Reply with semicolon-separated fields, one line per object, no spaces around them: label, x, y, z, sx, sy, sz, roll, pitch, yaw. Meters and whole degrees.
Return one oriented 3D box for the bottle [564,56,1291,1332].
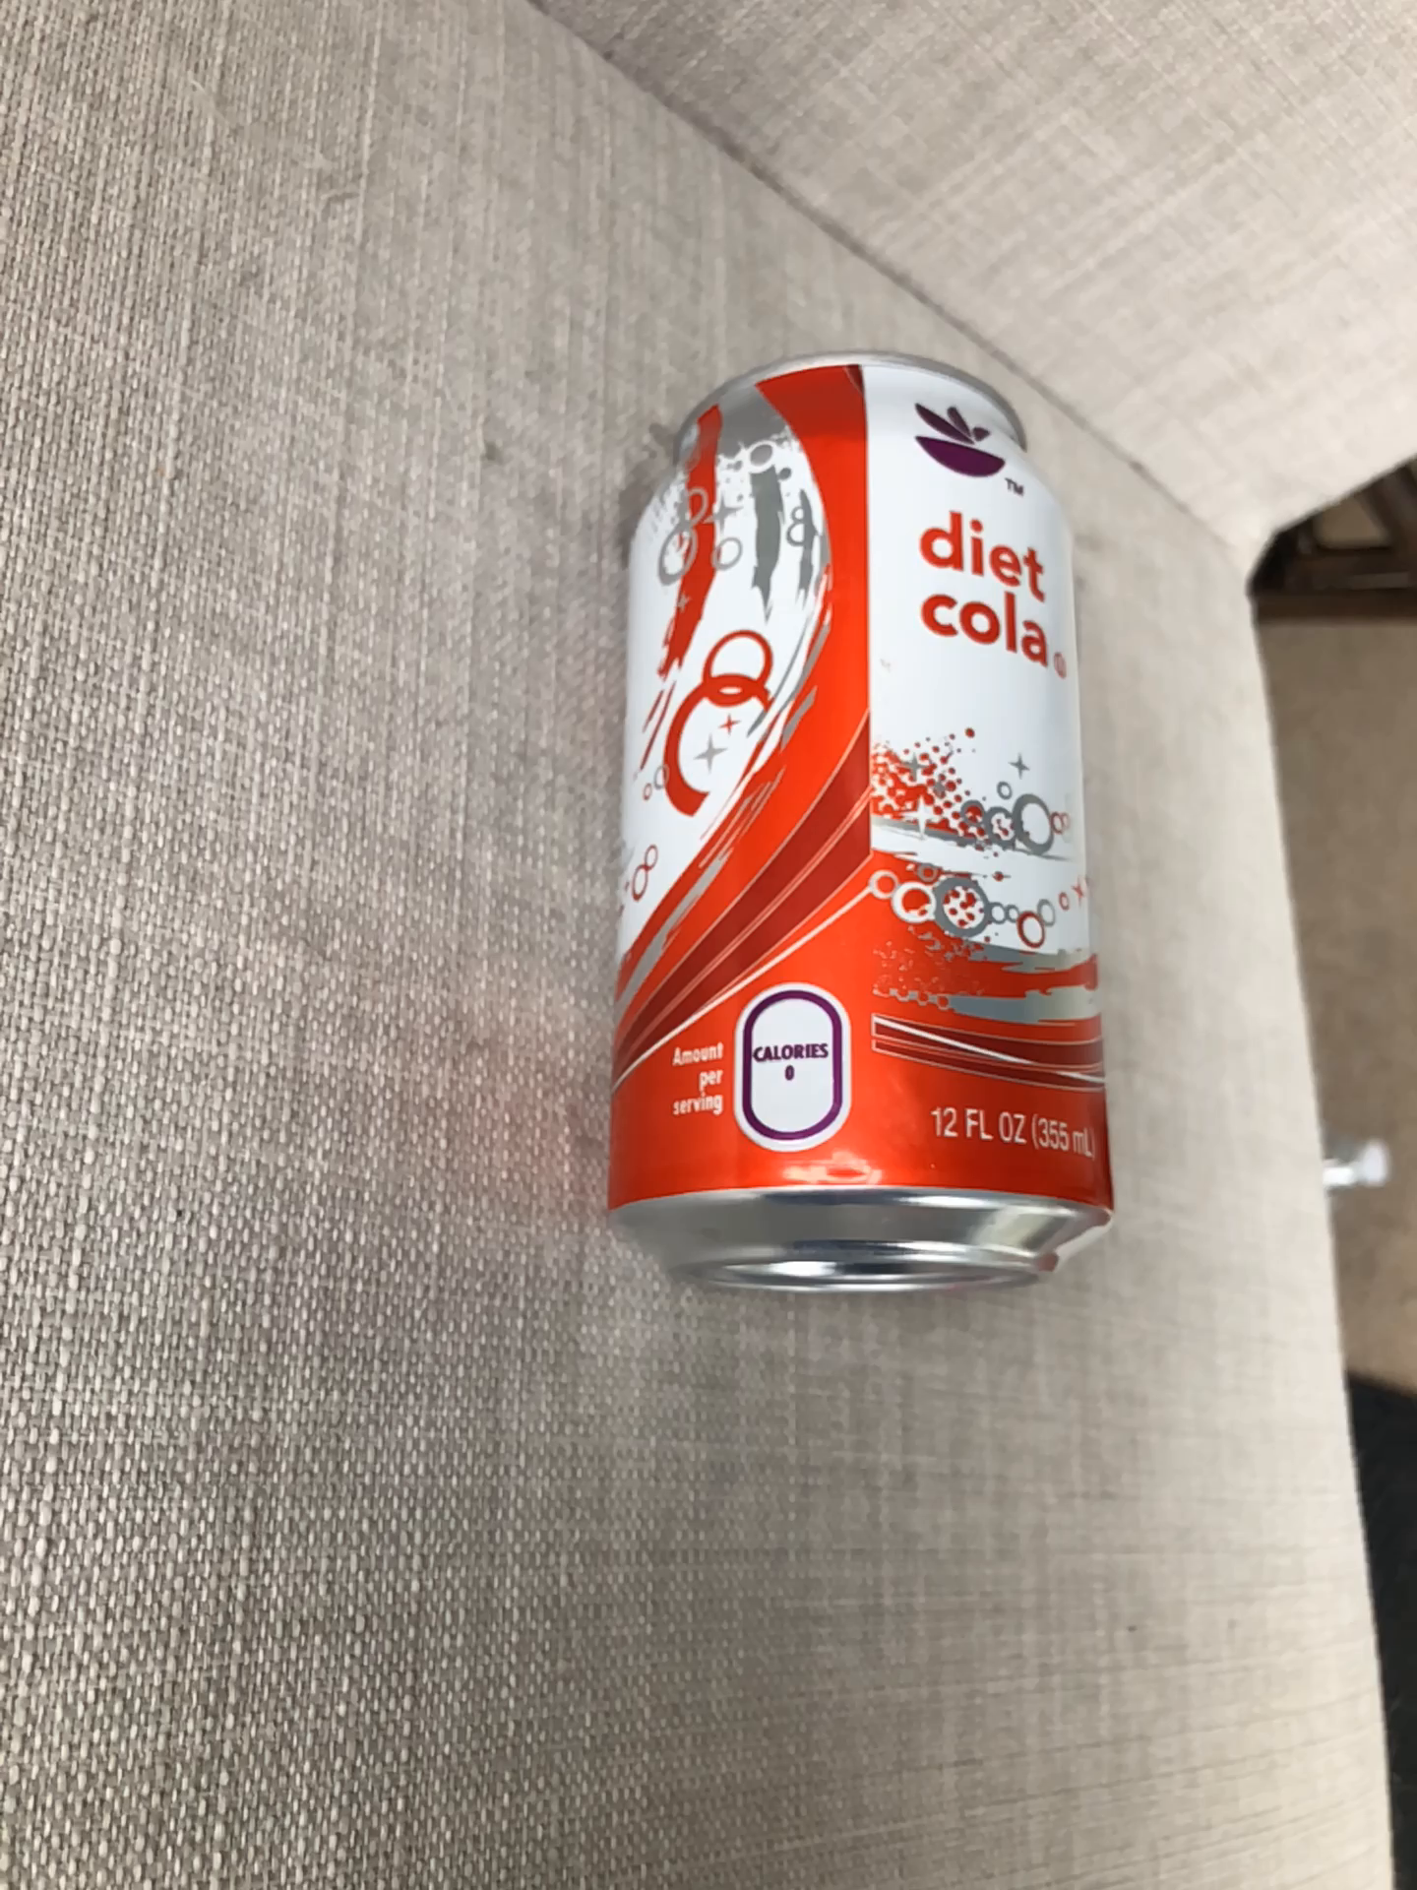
bottle;0.032;-0.025;0.221;0.070;0.062;0.149;16;70;-44
